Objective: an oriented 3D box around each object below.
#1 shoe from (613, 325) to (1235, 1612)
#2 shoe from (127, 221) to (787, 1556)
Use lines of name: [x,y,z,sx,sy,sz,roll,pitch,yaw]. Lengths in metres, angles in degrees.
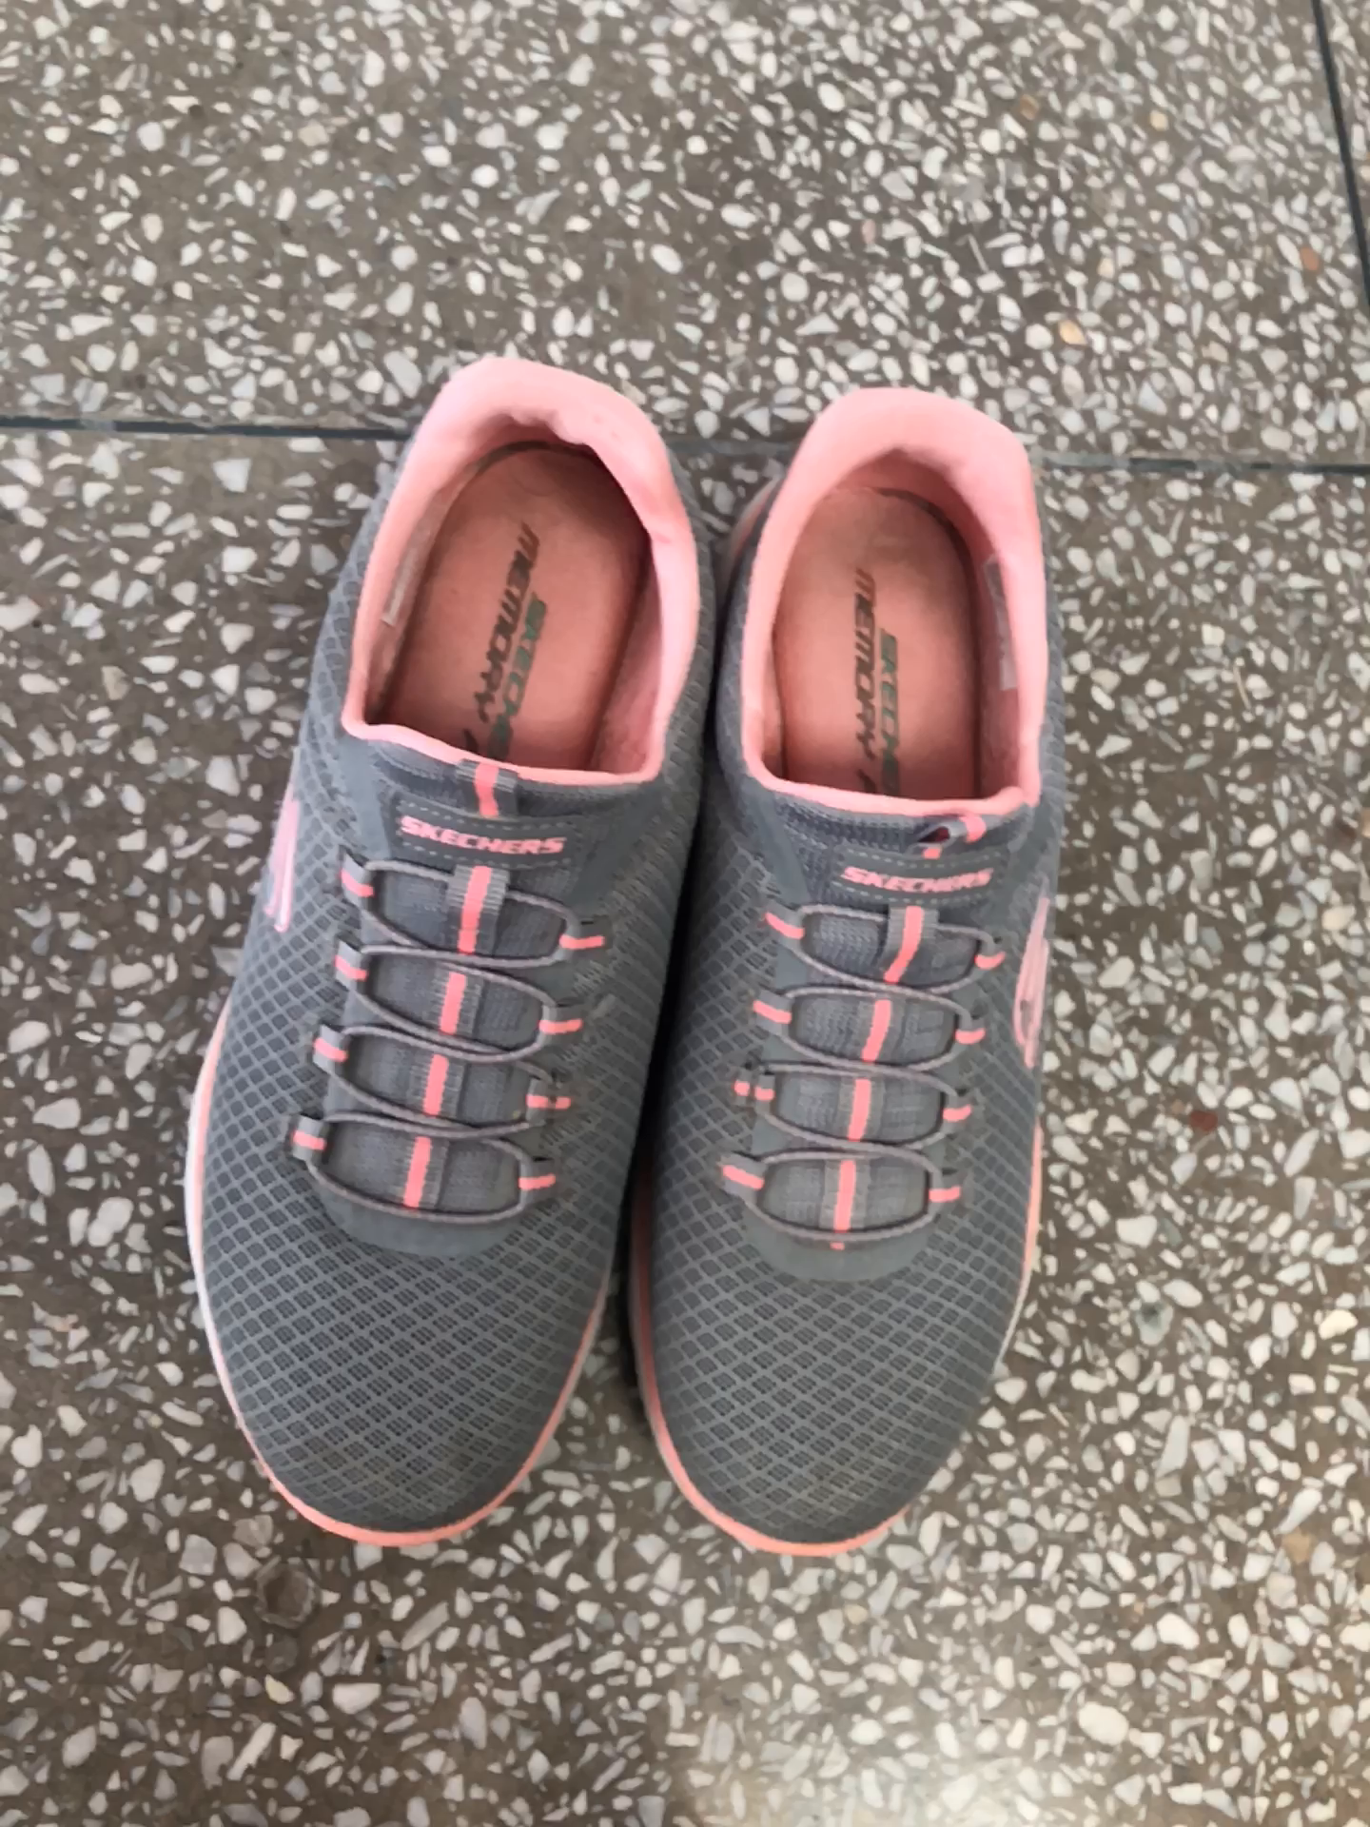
shoe: [0.047,0.012,0.333,0.090,0.100,0.230,7,81,-7]
shoe: [-0.044,-0.003,0.332,0.090,0.100,0.240,7,81,-7]
